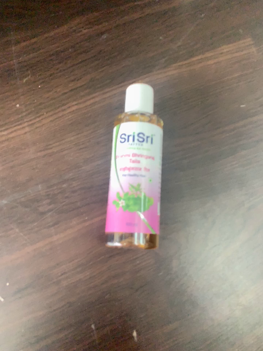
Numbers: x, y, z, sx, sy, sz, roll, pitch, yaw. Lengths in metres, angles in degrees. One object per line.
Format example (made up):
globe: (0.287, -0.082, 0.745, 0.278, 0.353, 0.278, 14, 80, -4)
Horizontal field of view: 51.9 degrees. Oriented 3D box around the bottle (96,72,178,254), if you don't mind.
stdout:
bottle: (0.006, -0.009, 0.209, 0.050, 0.040, 0.130, 3, 76, 2)
